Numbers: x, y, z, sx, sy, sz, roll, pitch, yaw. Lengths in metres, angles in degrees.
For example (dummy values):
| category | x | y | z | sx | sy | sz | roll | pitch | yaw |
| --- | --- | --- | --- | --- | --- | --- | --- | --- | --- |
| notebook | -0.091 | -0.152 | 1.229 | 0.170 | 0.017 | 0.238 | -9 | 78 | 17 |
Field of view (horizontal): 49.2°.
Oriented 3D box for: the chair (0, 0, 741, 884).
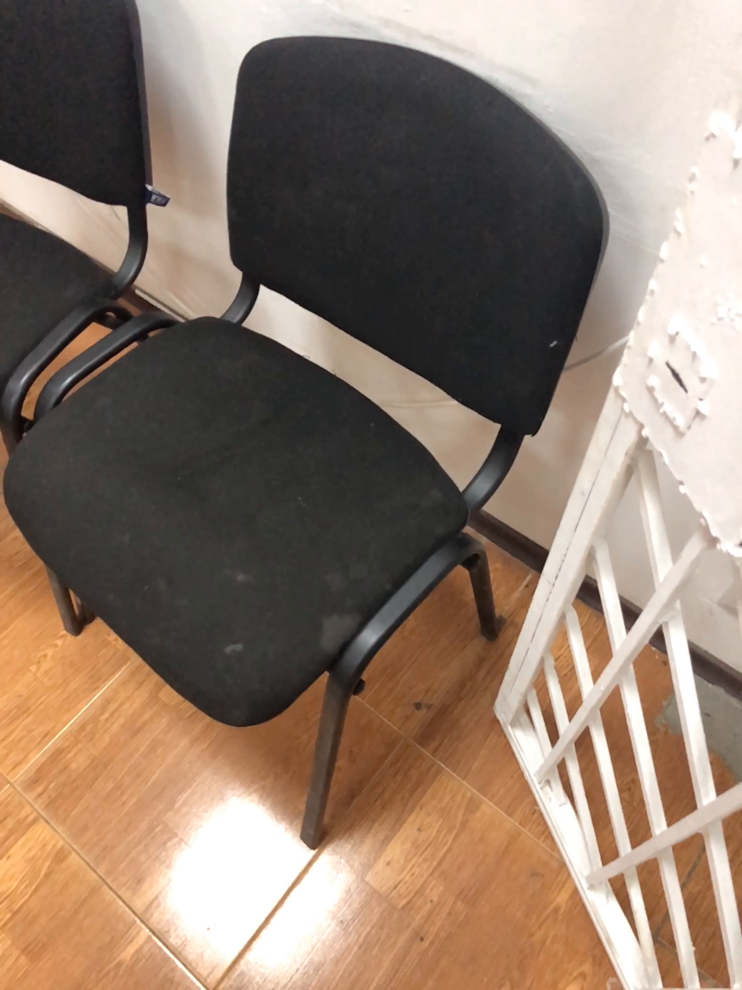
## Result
| category | x | y | z | sx | sy | sz | roll | pitch | yaw |
| --- | --- | --- | --- | --- | --- | --- | --- | --- | --- |
| chair | -0.071 | -0.045 | 0.965 | 0.571 | 0.688 | 0.621 | 36 | 65 | 21 |
